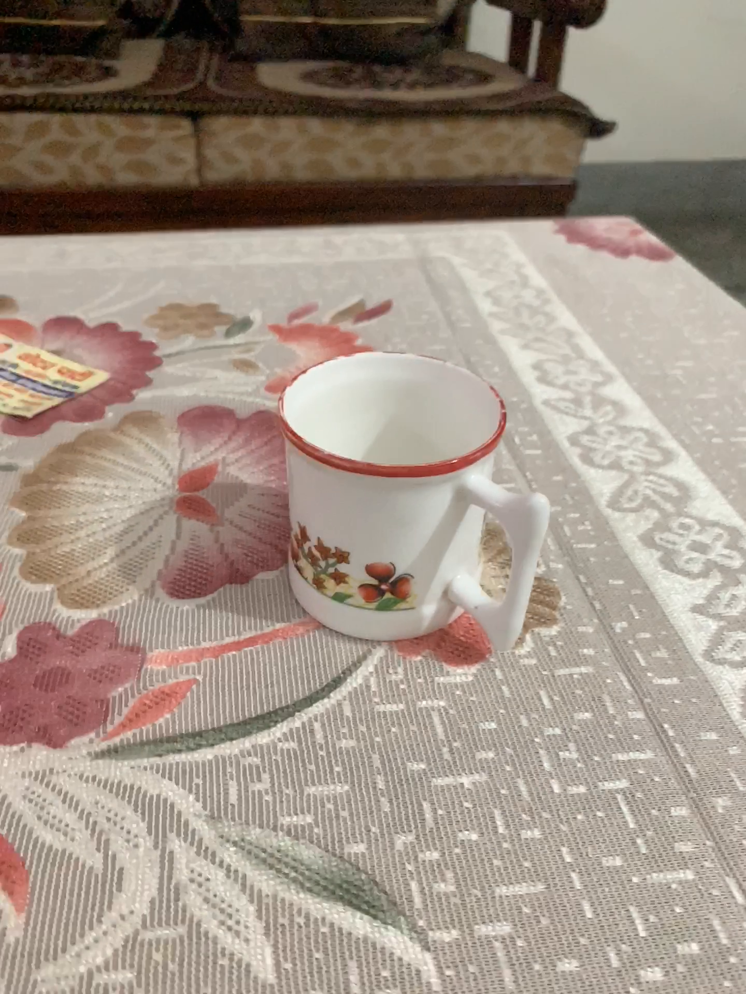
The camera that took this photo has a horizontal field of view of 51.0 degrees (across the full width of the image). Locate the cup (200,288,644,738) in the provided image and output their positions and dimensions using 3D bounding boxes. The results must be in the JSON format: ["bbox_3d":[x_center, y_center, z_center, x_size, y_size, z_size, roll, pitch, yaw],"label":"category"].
[{"bbox_3d":[0.011,-0.002,0.238,0.100,0.080,0.070,30,46,33],"label":"cup"}]
